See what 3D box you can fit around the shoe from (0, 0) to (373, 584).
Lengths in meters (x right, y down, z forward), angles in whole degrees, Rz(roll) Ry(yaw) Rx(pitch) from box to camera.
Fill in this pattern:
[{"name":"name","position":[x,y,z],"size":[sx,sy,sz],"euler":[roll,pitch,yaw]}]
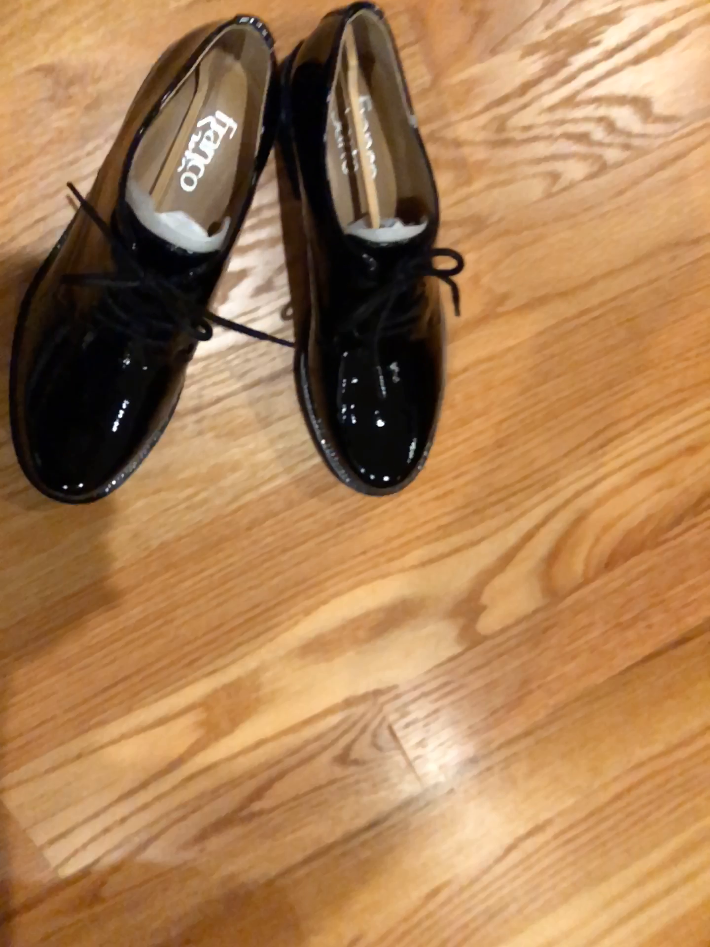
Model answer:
[{"name":"shoe","position":[-0.103,-0.093,0.369],"size":[0.095,0.102,0.251],"euler":[25,96,-20]}]

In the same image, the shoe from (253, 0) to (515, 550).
[{"name":"shoe","position":[0.014,-0.103,0.404],"size":[0.095,0.102,0.251],"euler":[-8,106,-14]}]
